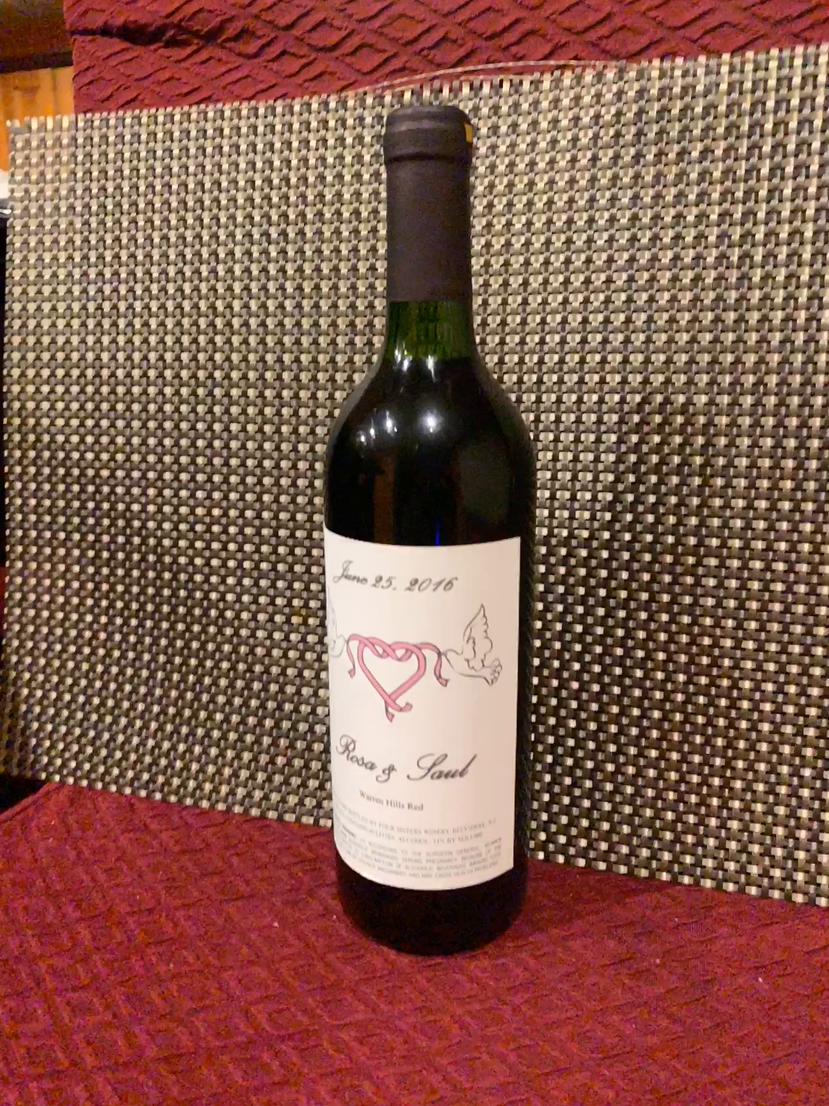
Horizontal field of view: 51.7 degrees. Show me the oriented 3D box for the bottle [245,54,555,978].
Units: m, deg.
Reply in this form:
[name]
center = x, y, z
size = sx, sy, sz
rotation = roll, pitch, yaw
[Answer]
[bottle]
center = 0.000, -0.003, 0.303
size = 0.080, 0.289, 0.060
rotation = 5, 16, 20
